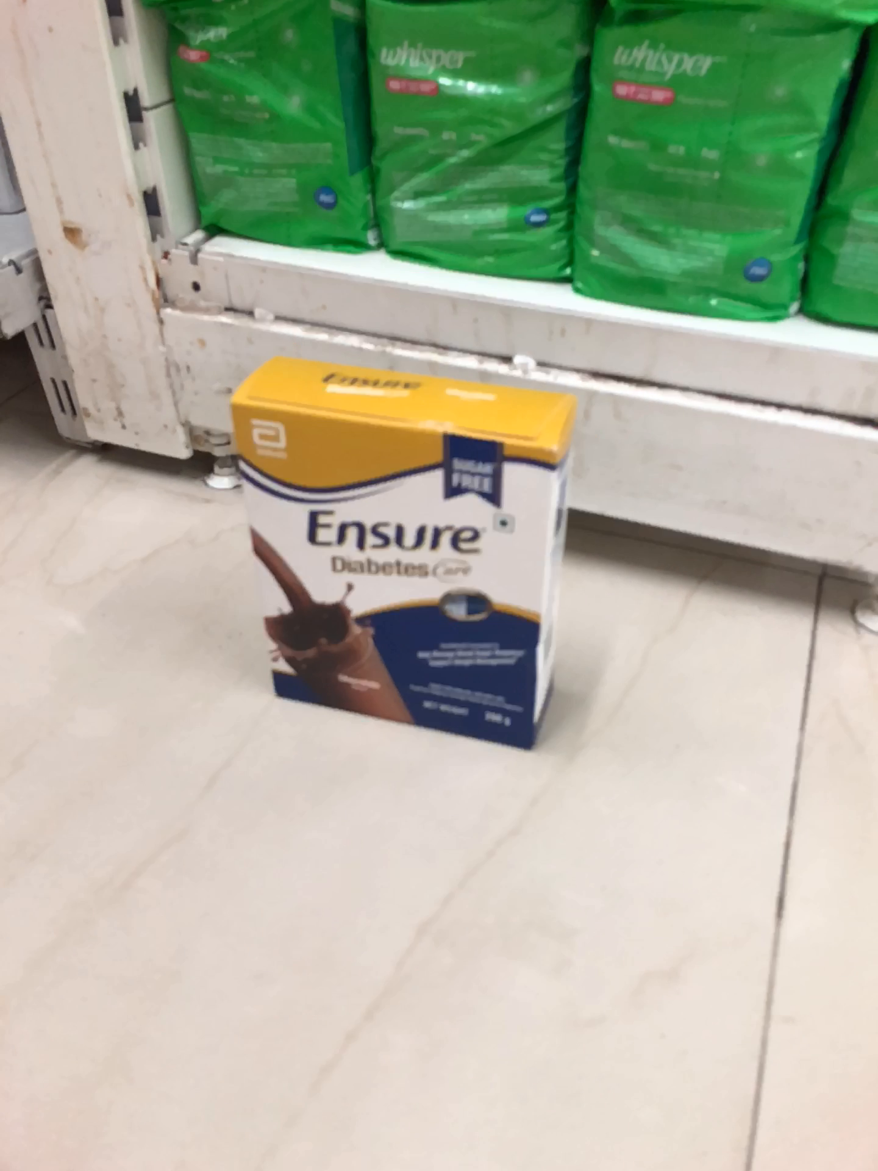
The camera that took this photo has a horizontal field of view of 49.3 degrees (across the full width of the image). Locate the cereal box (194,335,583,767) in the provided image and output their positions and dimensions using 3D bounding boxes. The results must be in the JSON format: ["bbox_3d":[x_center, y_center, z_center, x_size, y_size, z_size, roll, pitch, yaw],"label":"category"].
[{"bbox_3d":[-0.018,-0.011,0.419,0.140,0.169,0.050,11,40,14],"label":"cereal box"}]
